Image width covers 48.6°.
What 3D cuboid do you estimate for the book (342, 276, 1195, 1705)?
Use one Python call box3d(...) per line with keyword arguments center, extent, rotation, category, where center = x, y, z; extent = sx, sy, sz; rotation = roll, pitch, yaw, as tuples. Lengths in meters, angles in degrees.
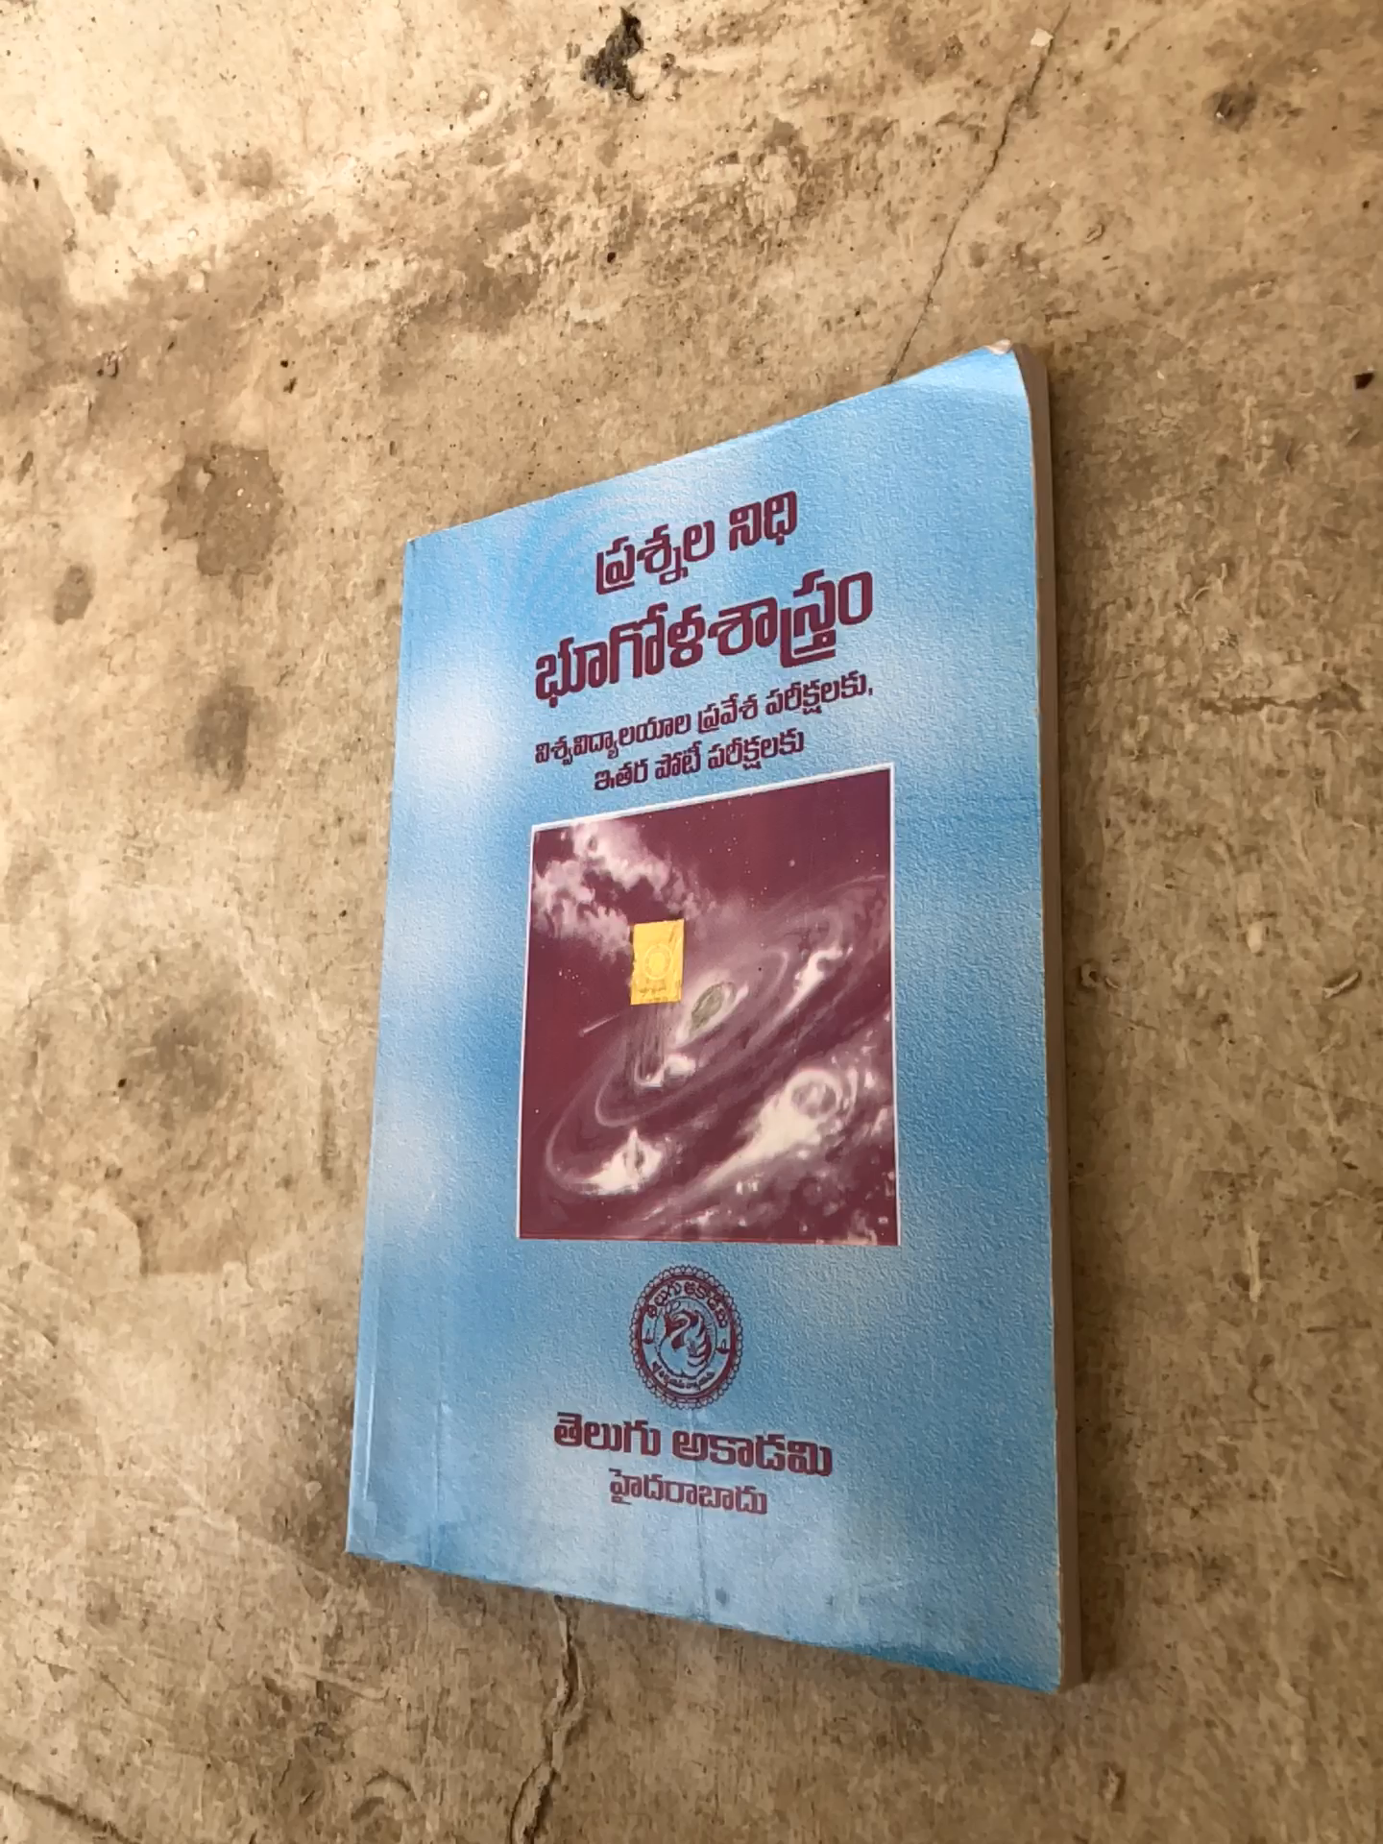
box3d(center=(0.008, 0.013, 0.355), extent=(0.191, 0.040, 0.270), rotation=(-7, 76, 34), category="book")
